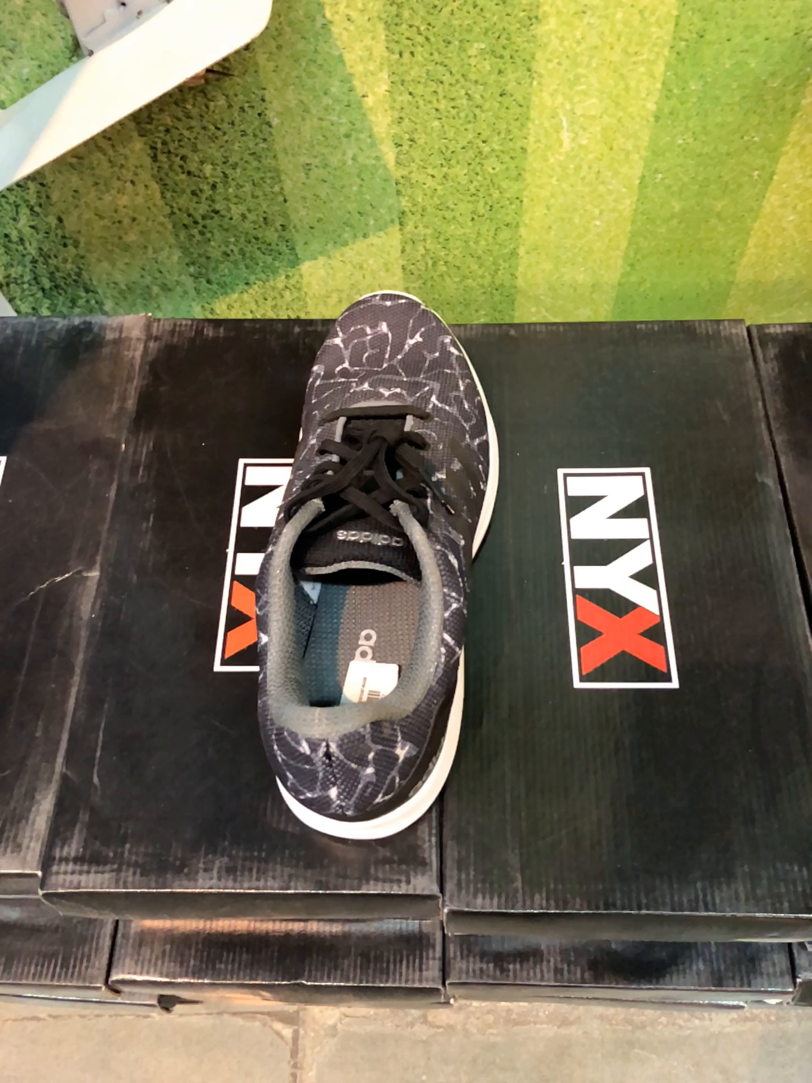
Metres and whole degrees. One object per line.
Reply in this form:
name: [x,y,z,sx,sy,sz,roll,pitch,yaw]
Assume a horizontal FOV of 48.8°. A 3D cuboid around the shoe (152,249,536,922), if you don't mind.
shoe: [-0.008,0.011,0.394,0.108,0.122,0.262,5,58,5]
